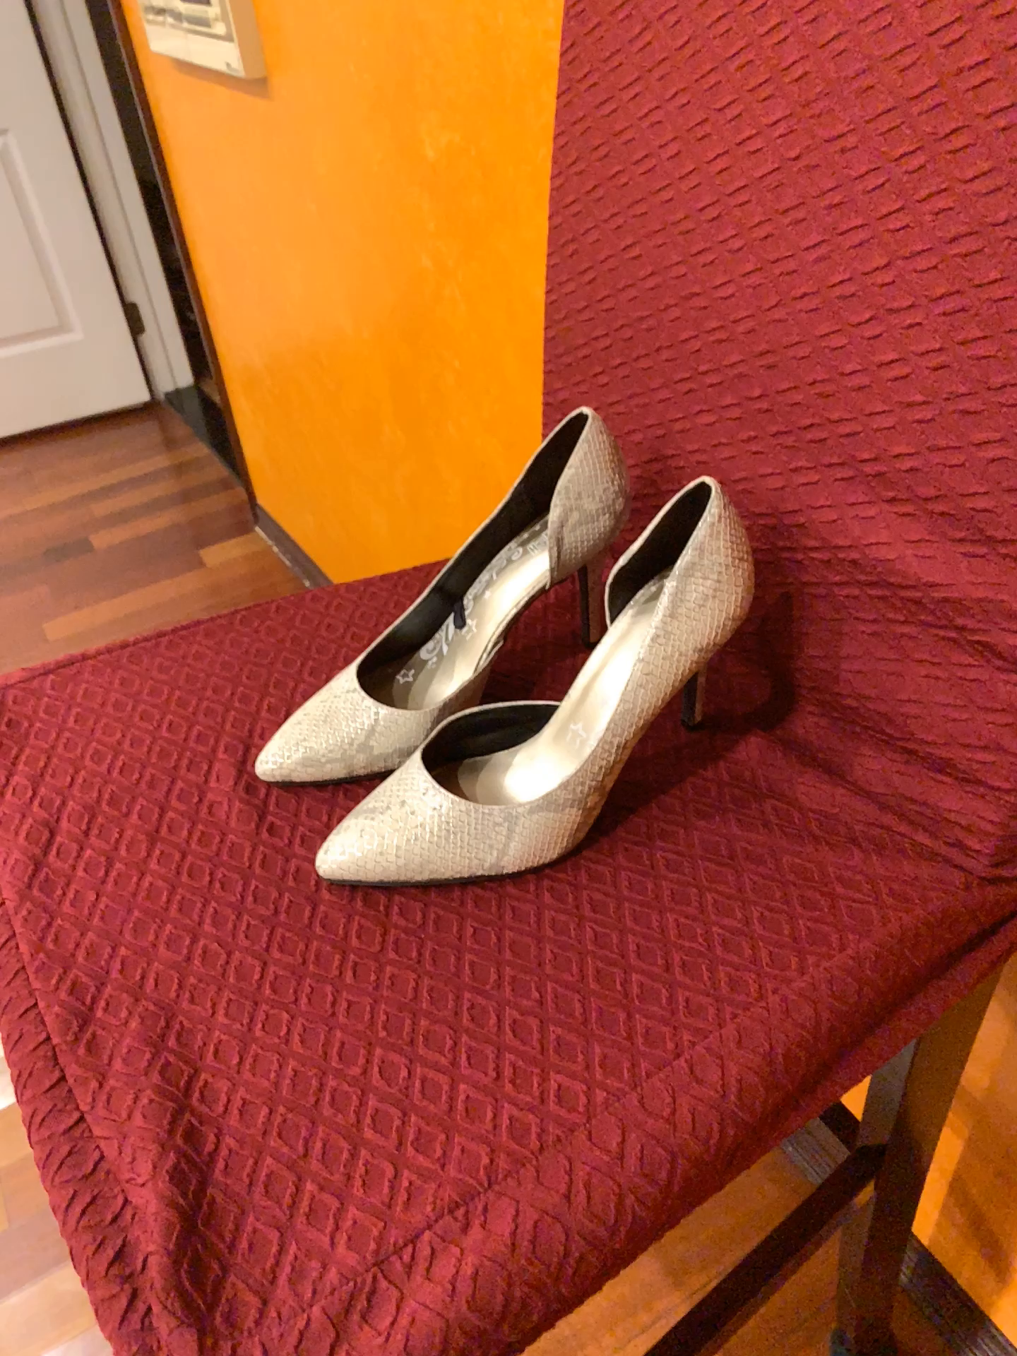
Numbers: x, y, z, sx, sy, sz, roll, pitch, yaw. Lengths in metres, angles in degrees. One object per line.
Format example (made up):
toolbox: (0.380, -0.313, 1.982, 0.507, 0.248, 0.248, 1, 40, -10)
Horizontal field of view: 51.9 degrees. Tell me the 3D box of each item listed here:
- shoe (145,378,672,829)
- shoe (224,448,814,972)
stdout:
shoe: (-0.039, -0.047, 0.556, 0.252, 0.119, 0.090, -28, 45, -21)
shoe: (0.015, 0.006, 0.491, 0.248, 0.120, 0.090, -28, 45, -21)
